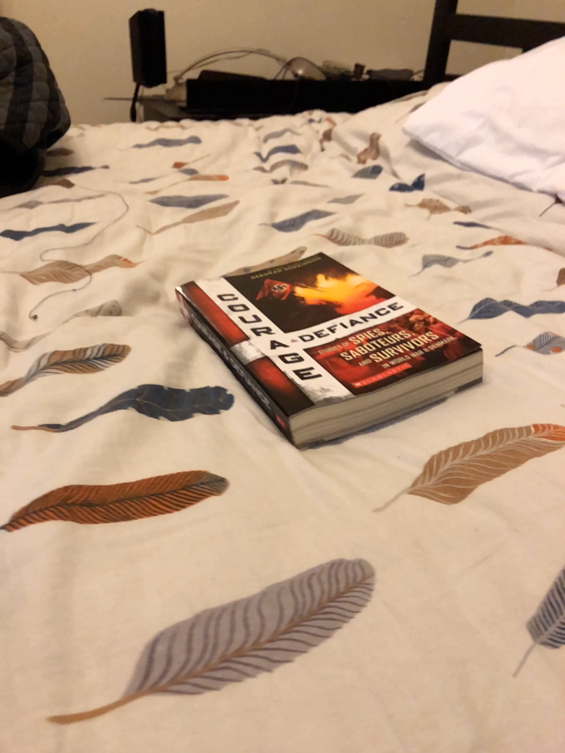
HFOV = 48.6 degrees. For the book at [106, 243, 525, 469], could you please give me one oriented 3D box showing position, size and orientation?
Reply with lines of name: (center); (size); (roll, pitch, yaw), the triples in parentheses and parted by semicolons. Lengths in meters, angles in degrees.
book: (0.009, -0.037, 0.438); (0.200, 0.020, 0.231); (-13, 35, -26)
